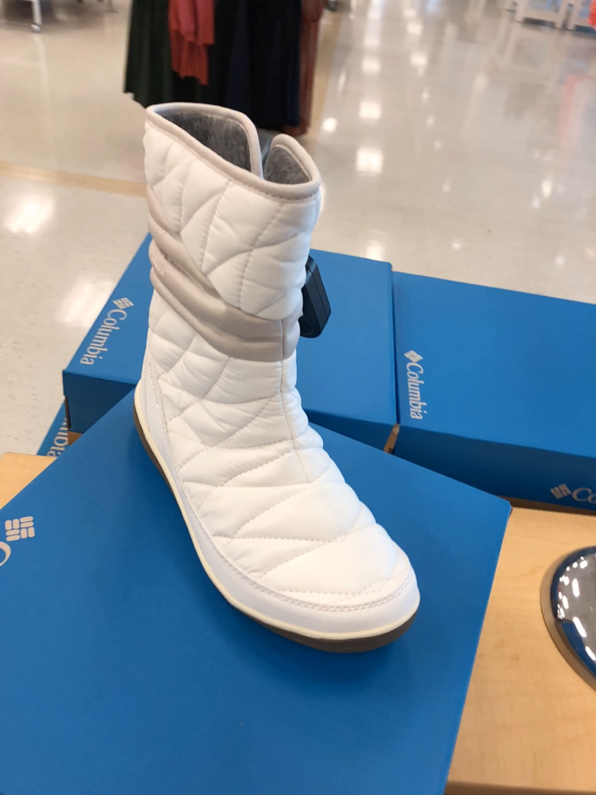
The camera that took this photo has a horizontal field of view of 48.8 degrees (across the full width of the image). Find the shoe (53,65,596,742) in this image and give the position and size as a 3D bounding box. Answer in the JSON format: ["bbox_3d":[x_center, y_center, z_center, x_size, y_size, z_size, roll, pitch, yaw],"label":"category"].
[{"bbox_3d":[-0.017,-0.012,0.347,0.105,0.228,0.261,-20,48,-31],"label":"shoe"}]
